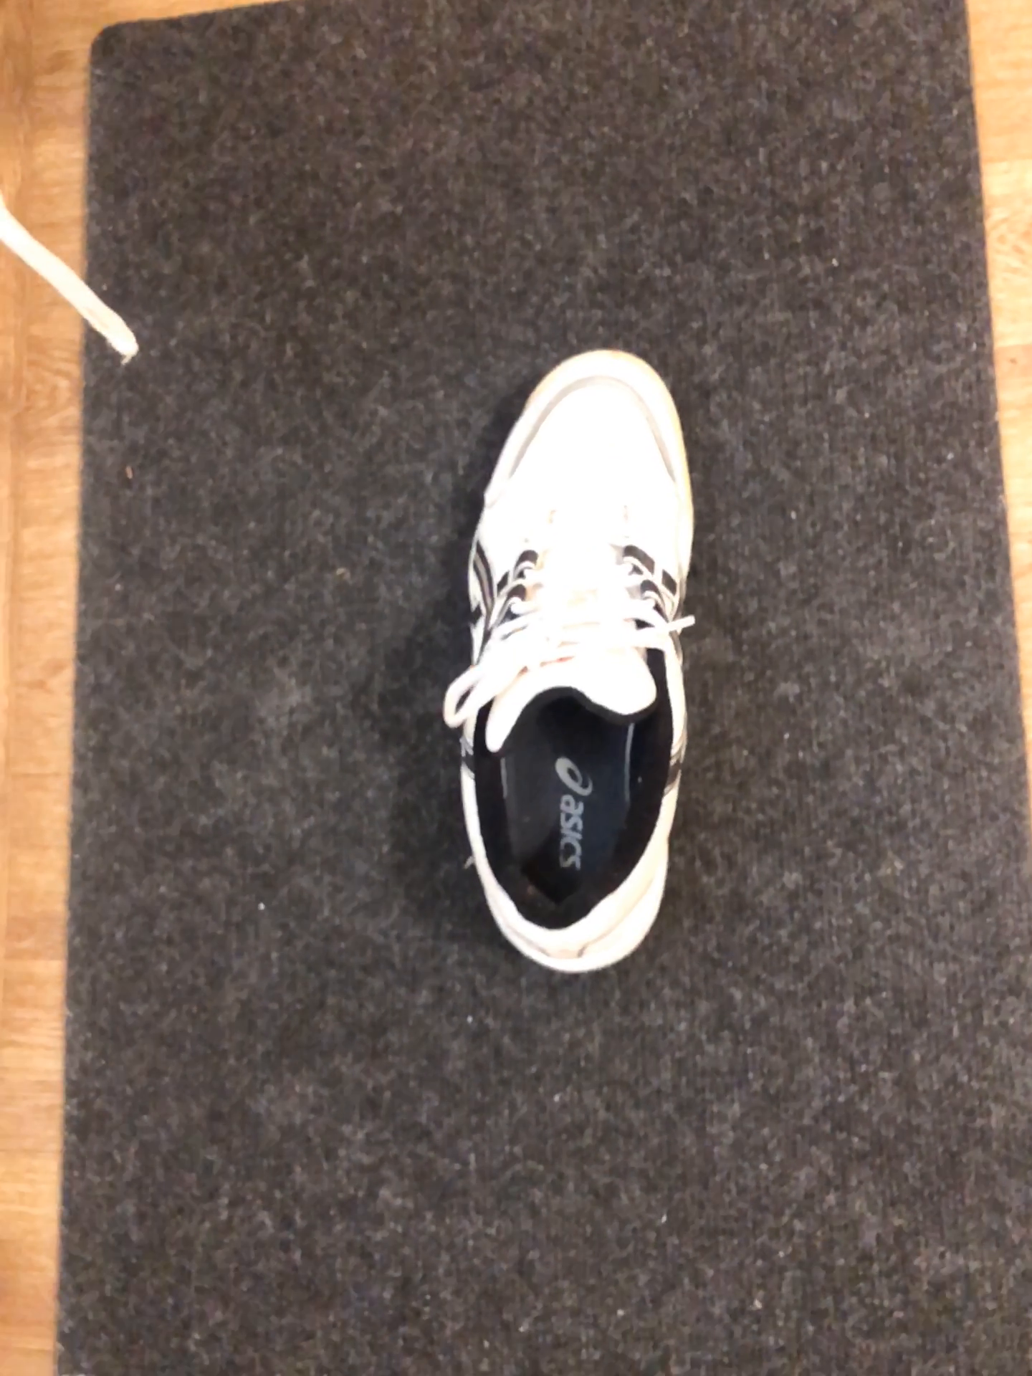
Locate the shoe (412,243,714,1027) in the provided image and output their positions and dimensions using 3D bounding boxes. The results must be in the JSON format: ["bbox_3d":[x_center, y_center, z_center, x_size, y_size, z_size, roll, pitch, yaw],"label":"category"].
[{"bbox_3d":[0.028,-0.020,0.478,0.100,0.110,0.289,2,83,10],"label":"shoe"}]
